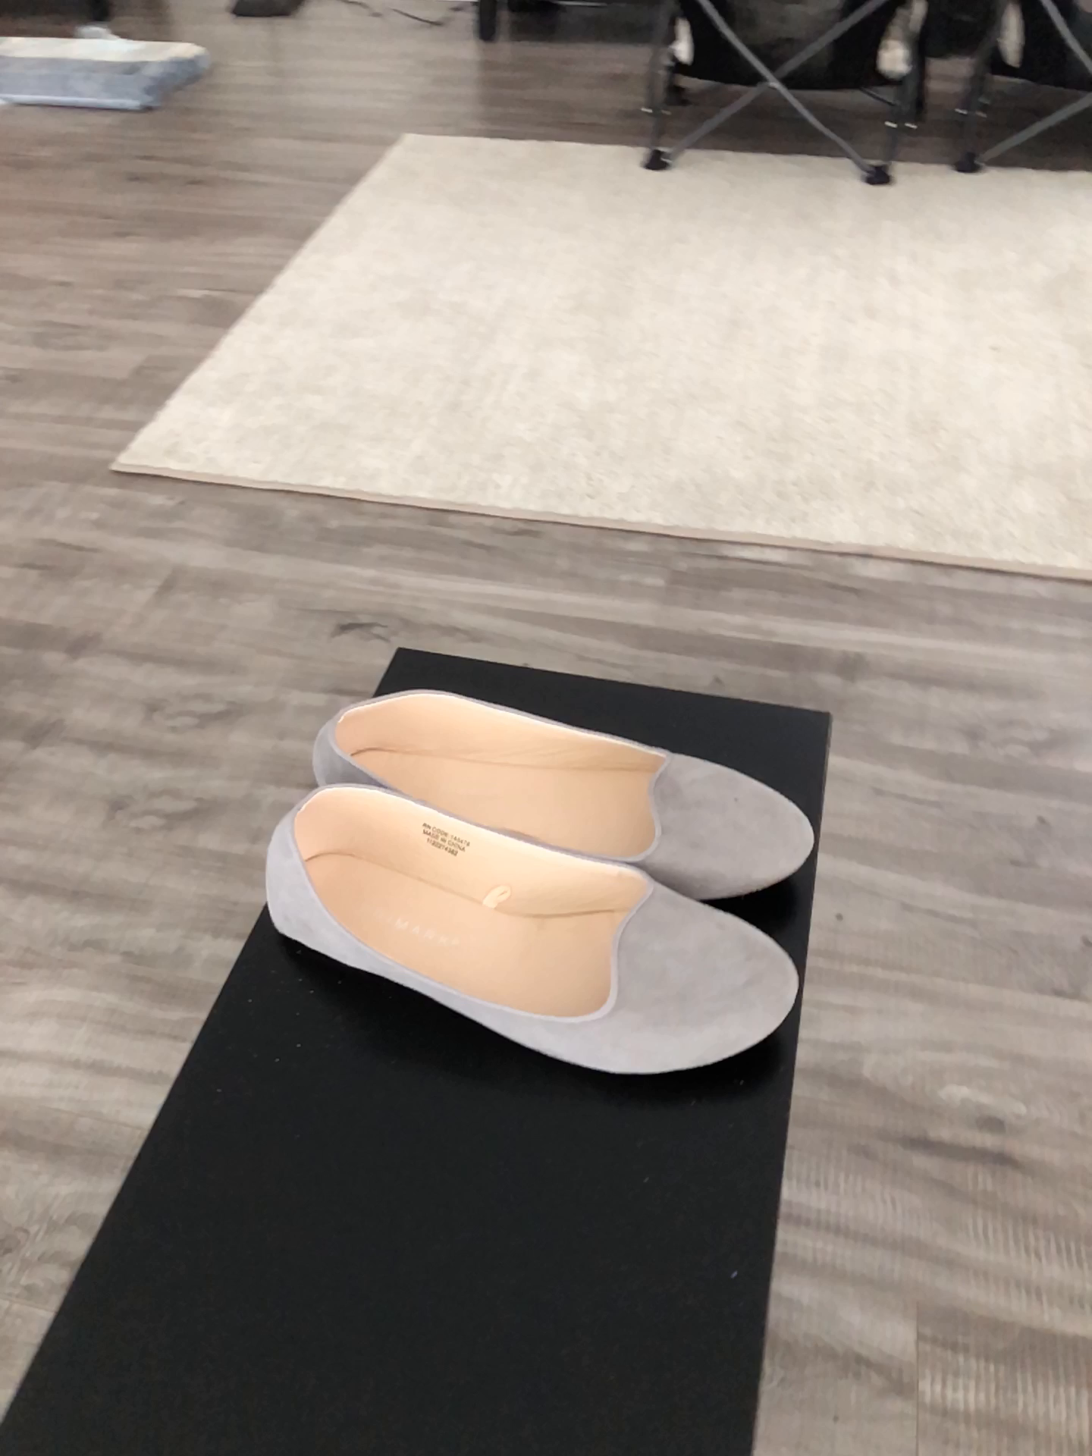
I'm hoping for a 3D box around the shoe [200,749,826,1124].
[{"bbox_3d":[-0.011,0.087,0.535,0.250,0.060,0.100,10,45,12],"label":"shoe"}]

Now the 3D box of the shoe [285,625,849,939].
[{"bbox_3d":[0.013,0.022,0.602,0.256,0.060,0.100,10,45,12],"label":"shoe"}]
